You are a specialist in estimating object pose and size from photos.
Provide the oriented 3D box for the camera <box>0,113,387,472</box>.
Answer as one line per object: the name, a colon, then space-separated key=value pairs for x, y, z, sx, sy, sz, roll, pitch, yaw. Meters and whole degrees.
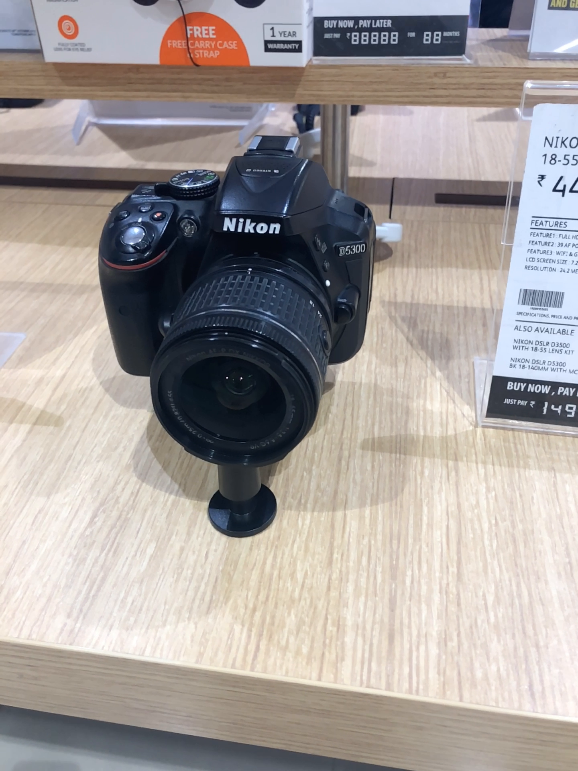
camera: x=-0.032 y=-0.050 z=0.256 sx=0.130 sy=0.070 sz=0.151 roll=5 pitch=38 yaw=8
